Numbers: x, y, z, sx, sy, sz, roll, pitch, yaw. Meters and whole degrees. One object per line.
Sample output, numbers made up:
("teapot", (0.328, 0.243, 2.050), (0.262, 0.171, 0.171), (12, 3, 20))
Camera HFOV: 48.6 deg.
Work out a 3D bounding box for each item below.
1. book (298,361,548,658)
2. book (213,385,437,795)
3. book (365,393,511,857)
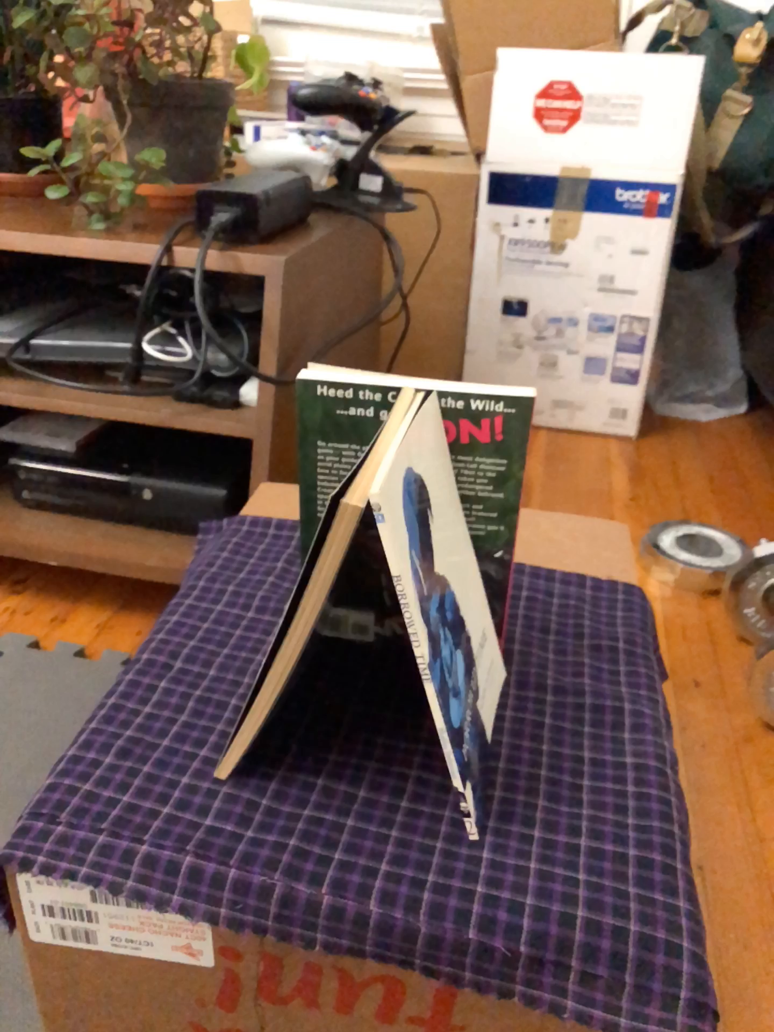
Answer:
("book", (0.017, 0.002, 0.537), (0.140, 0.189, 0.020), (7, 34, 7))
("book", (-0.033, 0.038, 0.477), (0.010, 0.199, 0.151), (27, 31, 1))
("book", (0.035, 0.051, 0.454), (0.010, 0.199, 0.141), (-9, 23, 17))
